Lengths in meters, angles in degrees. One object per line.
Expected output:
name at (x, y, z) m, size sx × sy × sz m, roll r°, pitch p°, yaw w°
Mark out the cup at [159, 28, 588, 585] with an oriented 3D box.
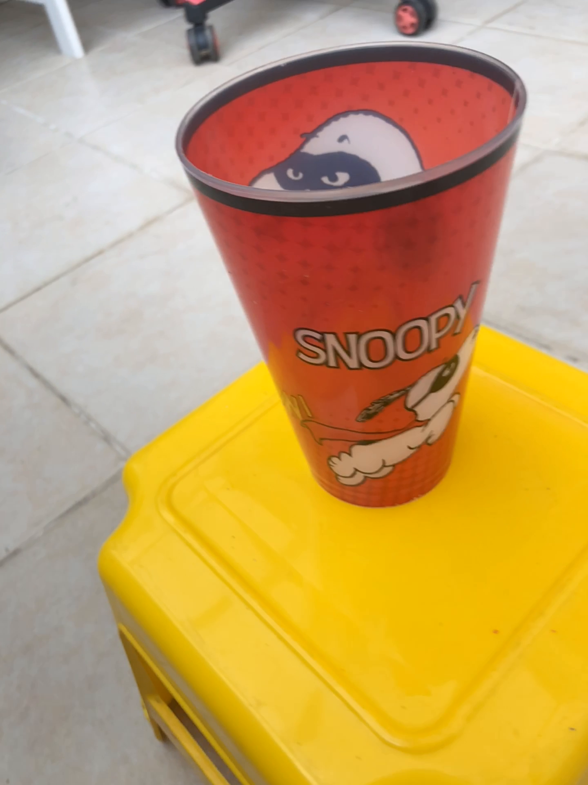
cup at (0.023, -0.027, 0.234) m, size 0.100 × 0.139 × 0.111 m, roll -13°, pitch 45°, yaw -1°
